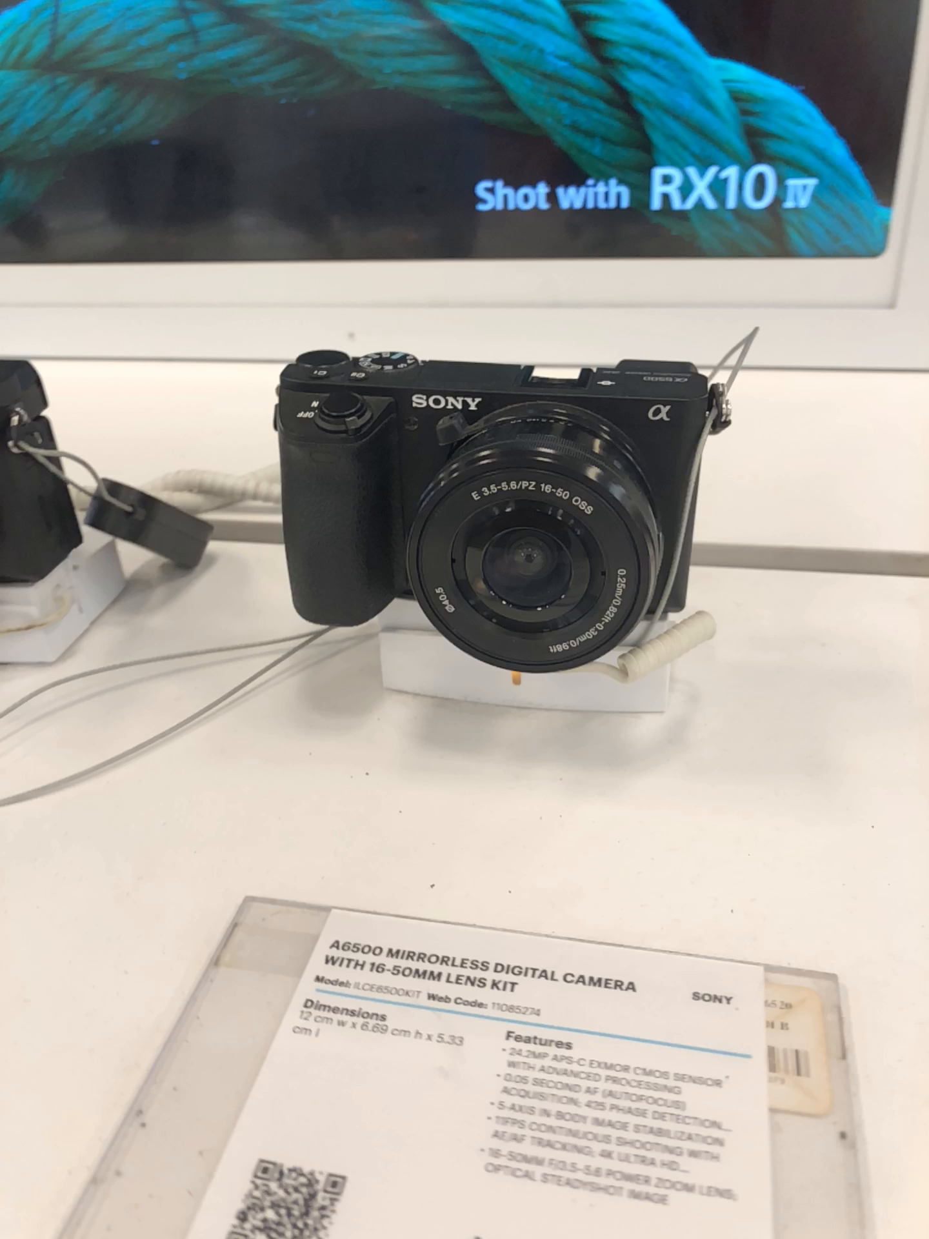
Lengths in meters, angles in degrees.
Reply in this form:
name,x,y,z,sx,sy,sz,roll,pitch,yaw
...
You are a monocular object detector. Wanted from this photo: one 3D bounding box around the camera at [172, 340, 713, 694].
name,x,y,z,sx,sy,sz,roll,pitch,yaw
camera,0.000,-0.033,0.292,0.130,0.070,0.070,4,32,13
